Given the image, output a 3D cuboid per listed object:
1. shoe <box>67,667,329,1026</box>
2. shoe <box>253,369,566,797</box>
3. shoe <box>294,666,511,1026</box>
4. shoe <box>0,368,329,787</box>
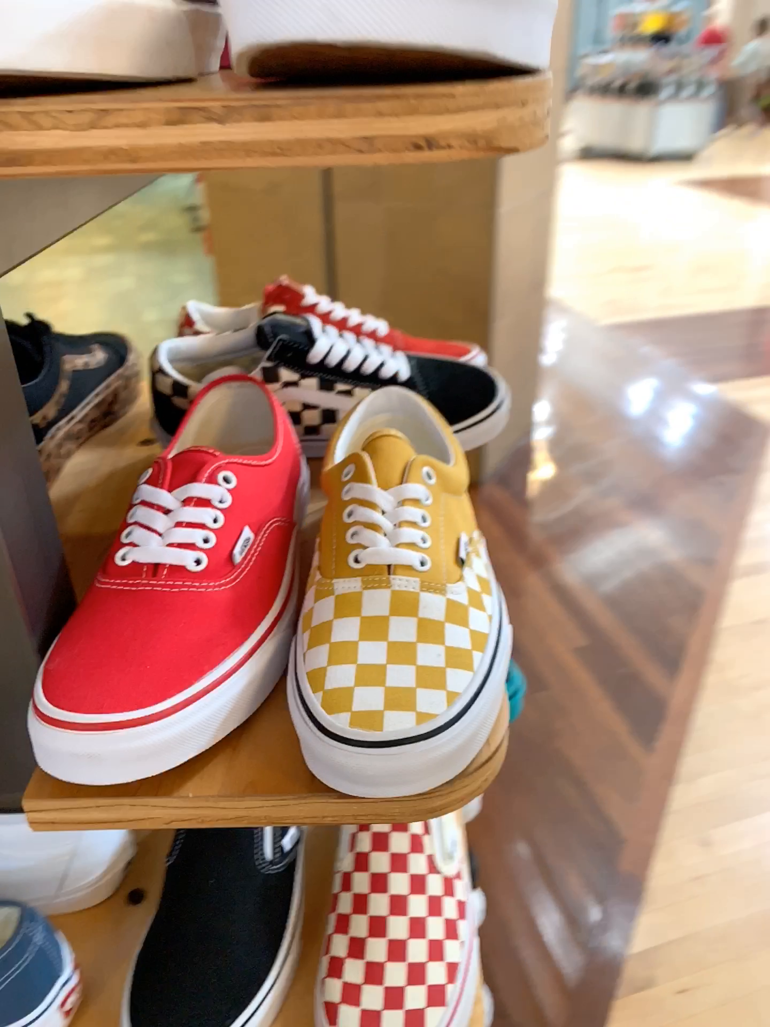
[{"bbox_3d":[-0.102,0.218,0.528,0.105,0.067,0.269,0,30,1],"label":"shoe"},{"bbox_3d":[0.008,0.008,0.395,0.103,0.067,0.269,-1,30,0],"label":"shoe"},{"bbox_3d":[0.011,0.214,0.510,0.103,0.067,0.269,0,30,1],"label":"shoe"},{"bbox_3d":[-0.095,0.006,0.401,0.109,0.067,0.269,0,30,1],"label":"shoe"}]
